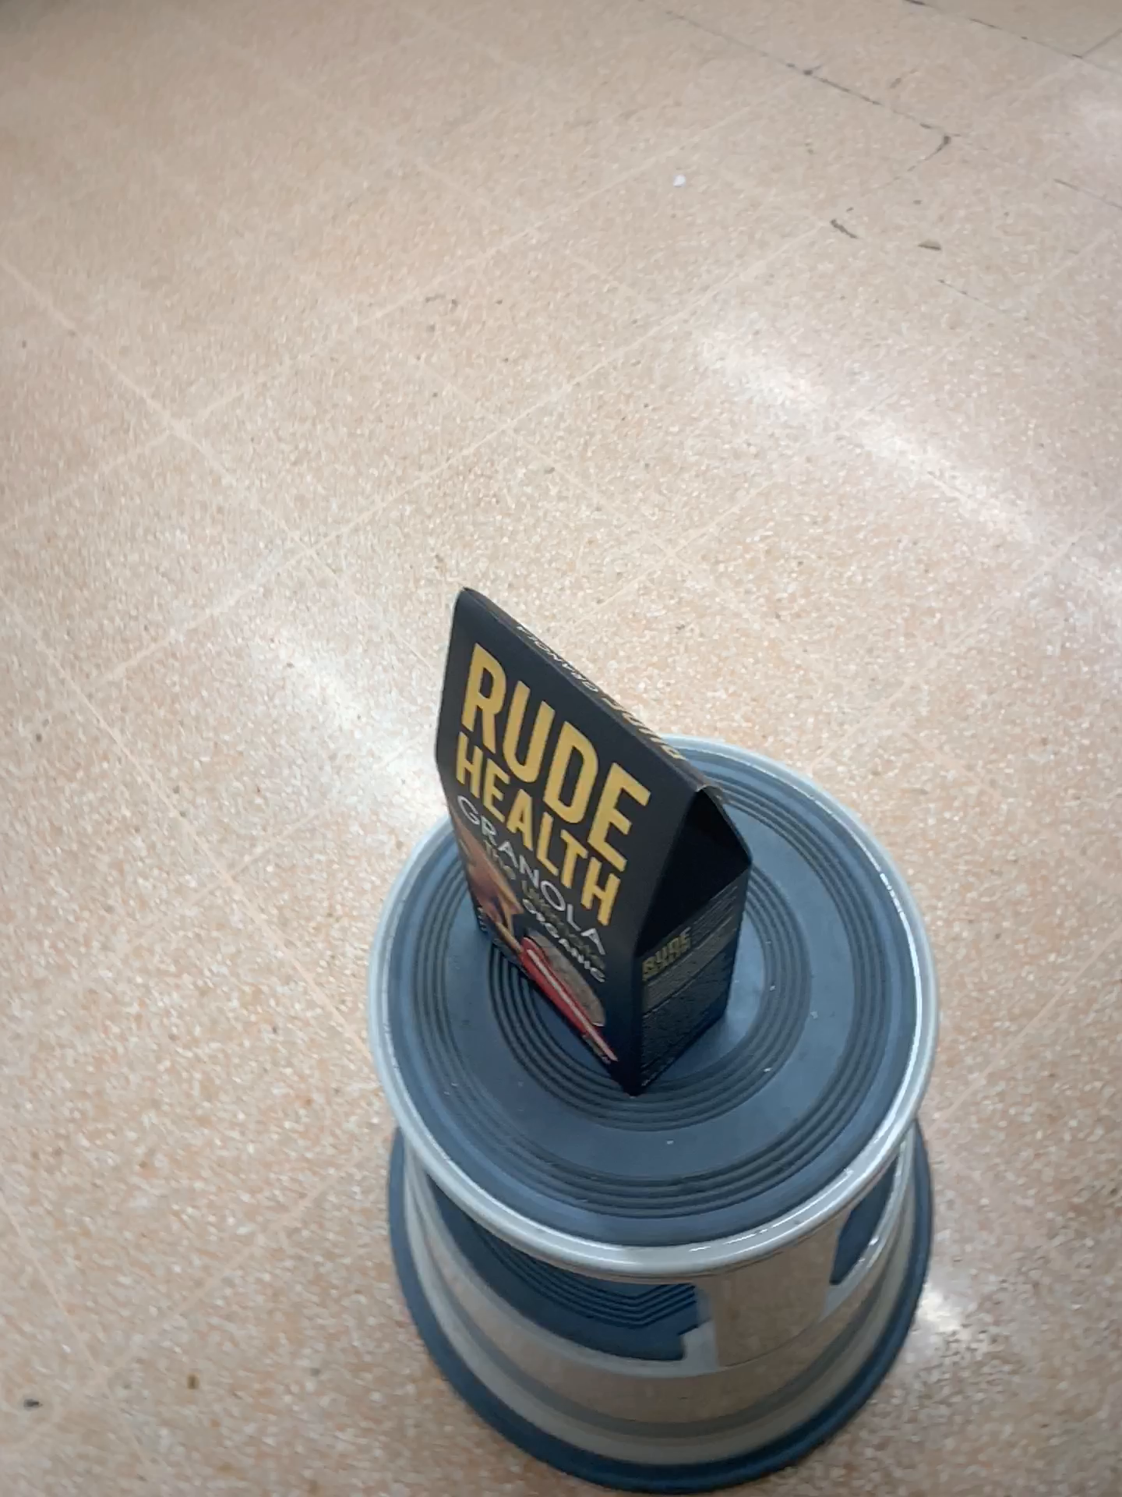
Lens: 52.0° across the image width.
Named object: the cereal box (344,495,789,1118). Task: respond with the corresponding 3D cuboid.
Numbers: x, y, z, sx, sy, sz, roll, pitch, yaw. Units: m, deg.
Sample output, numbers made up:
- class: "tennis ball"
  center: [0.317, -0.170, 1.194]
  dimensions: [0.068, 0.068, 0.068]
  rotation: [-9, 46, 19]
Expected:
- class: "cereal box"
  center: [0.008, 0.042, 0.480]
  dimensions: [0.070, 0.258, 0.141]
  rotation: [-37, 61, -18]
